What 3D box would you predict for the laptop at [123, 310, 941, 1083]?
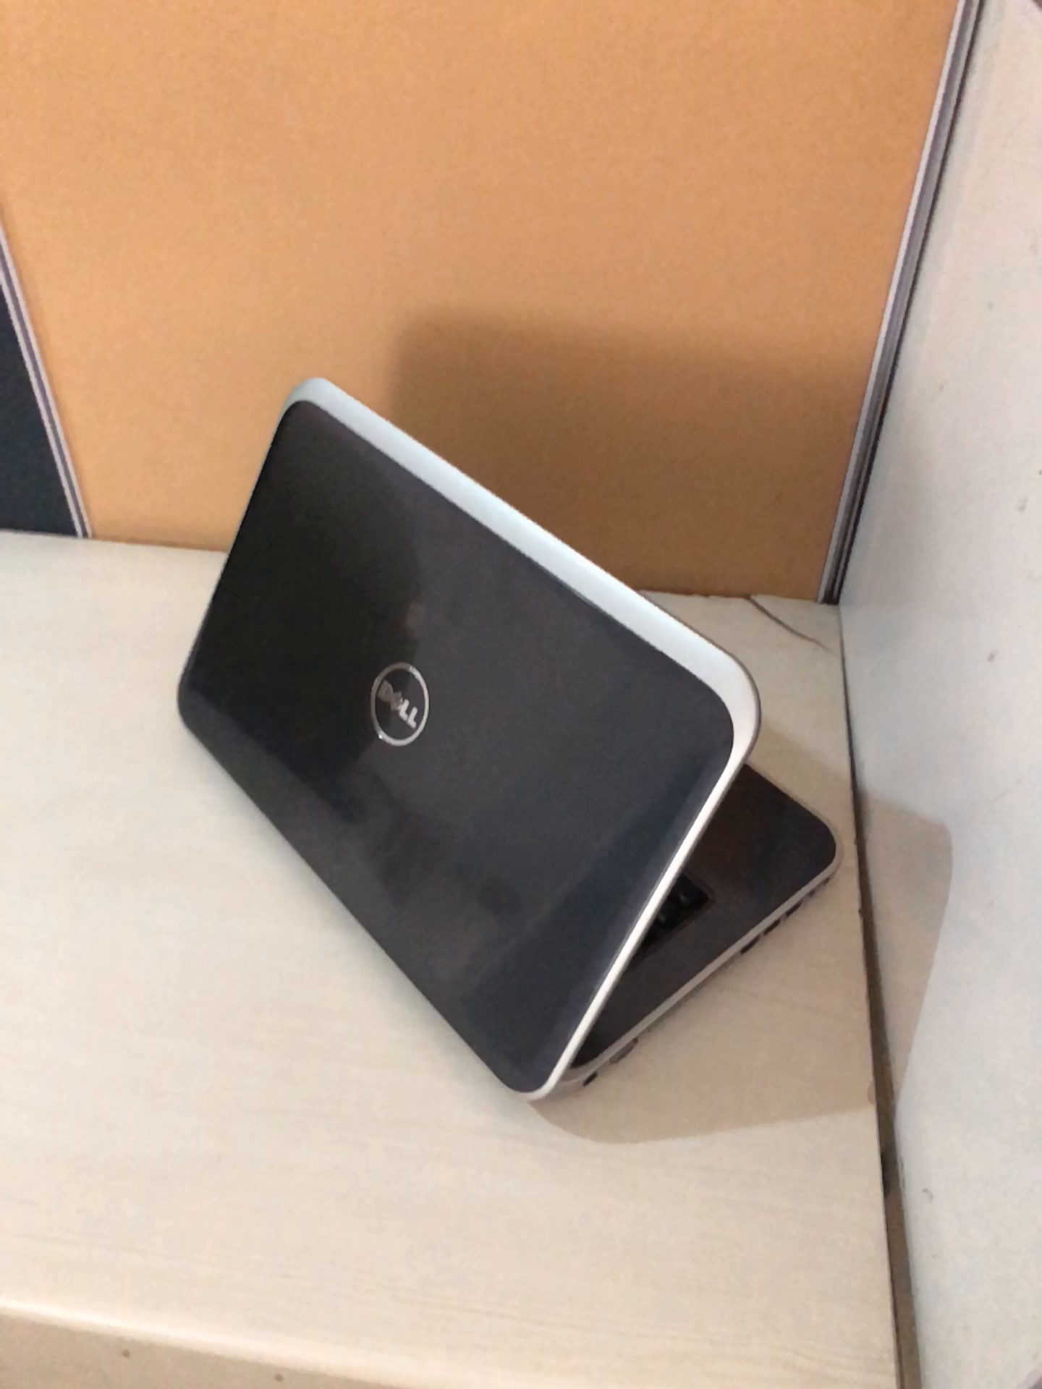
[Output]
[{"bbox_3d":[-0.009,-0.026,0.647,0.240,0.192,0.349,-30,52,-27],"label":"laptop"}]
